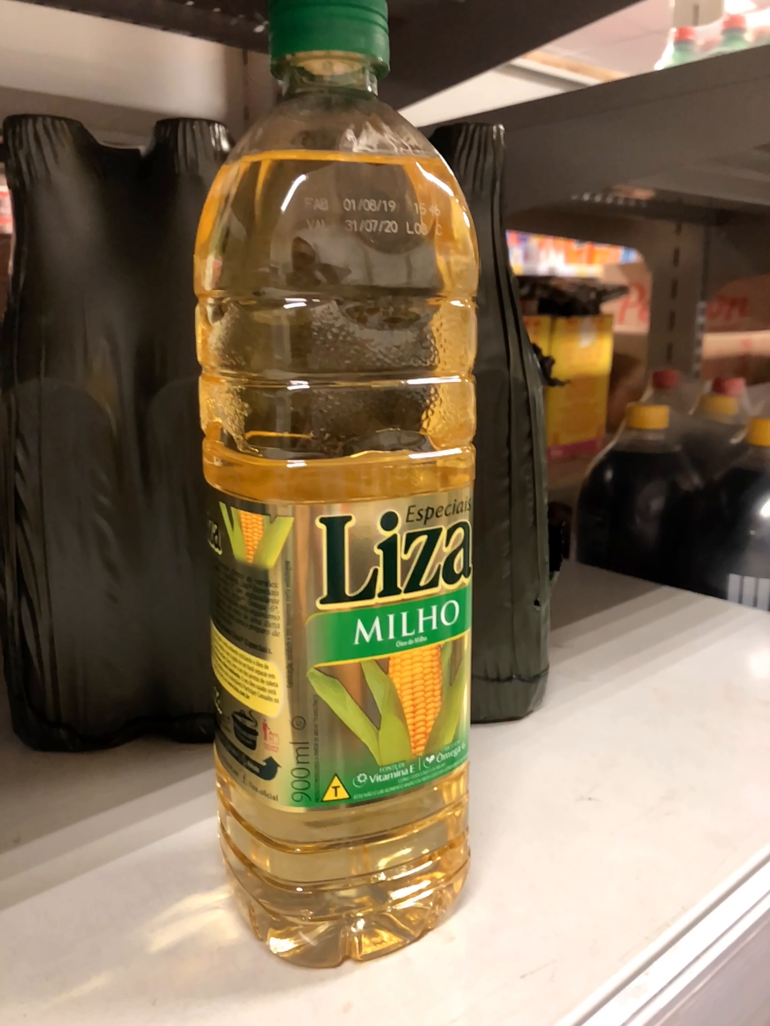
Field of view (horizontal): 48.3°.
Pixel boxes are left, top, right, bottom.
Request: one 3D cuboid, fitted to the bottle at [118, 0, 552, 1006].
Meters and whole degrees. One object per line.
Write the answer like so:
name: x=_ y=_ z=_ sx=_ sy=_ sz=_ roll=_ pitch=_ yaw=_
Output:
bottle: x=-0.013 y=-0.010 z=0.235 sx=0.080 sy=0.249 sz=0.070 roll=-9 pitch=16 yaw=-31
